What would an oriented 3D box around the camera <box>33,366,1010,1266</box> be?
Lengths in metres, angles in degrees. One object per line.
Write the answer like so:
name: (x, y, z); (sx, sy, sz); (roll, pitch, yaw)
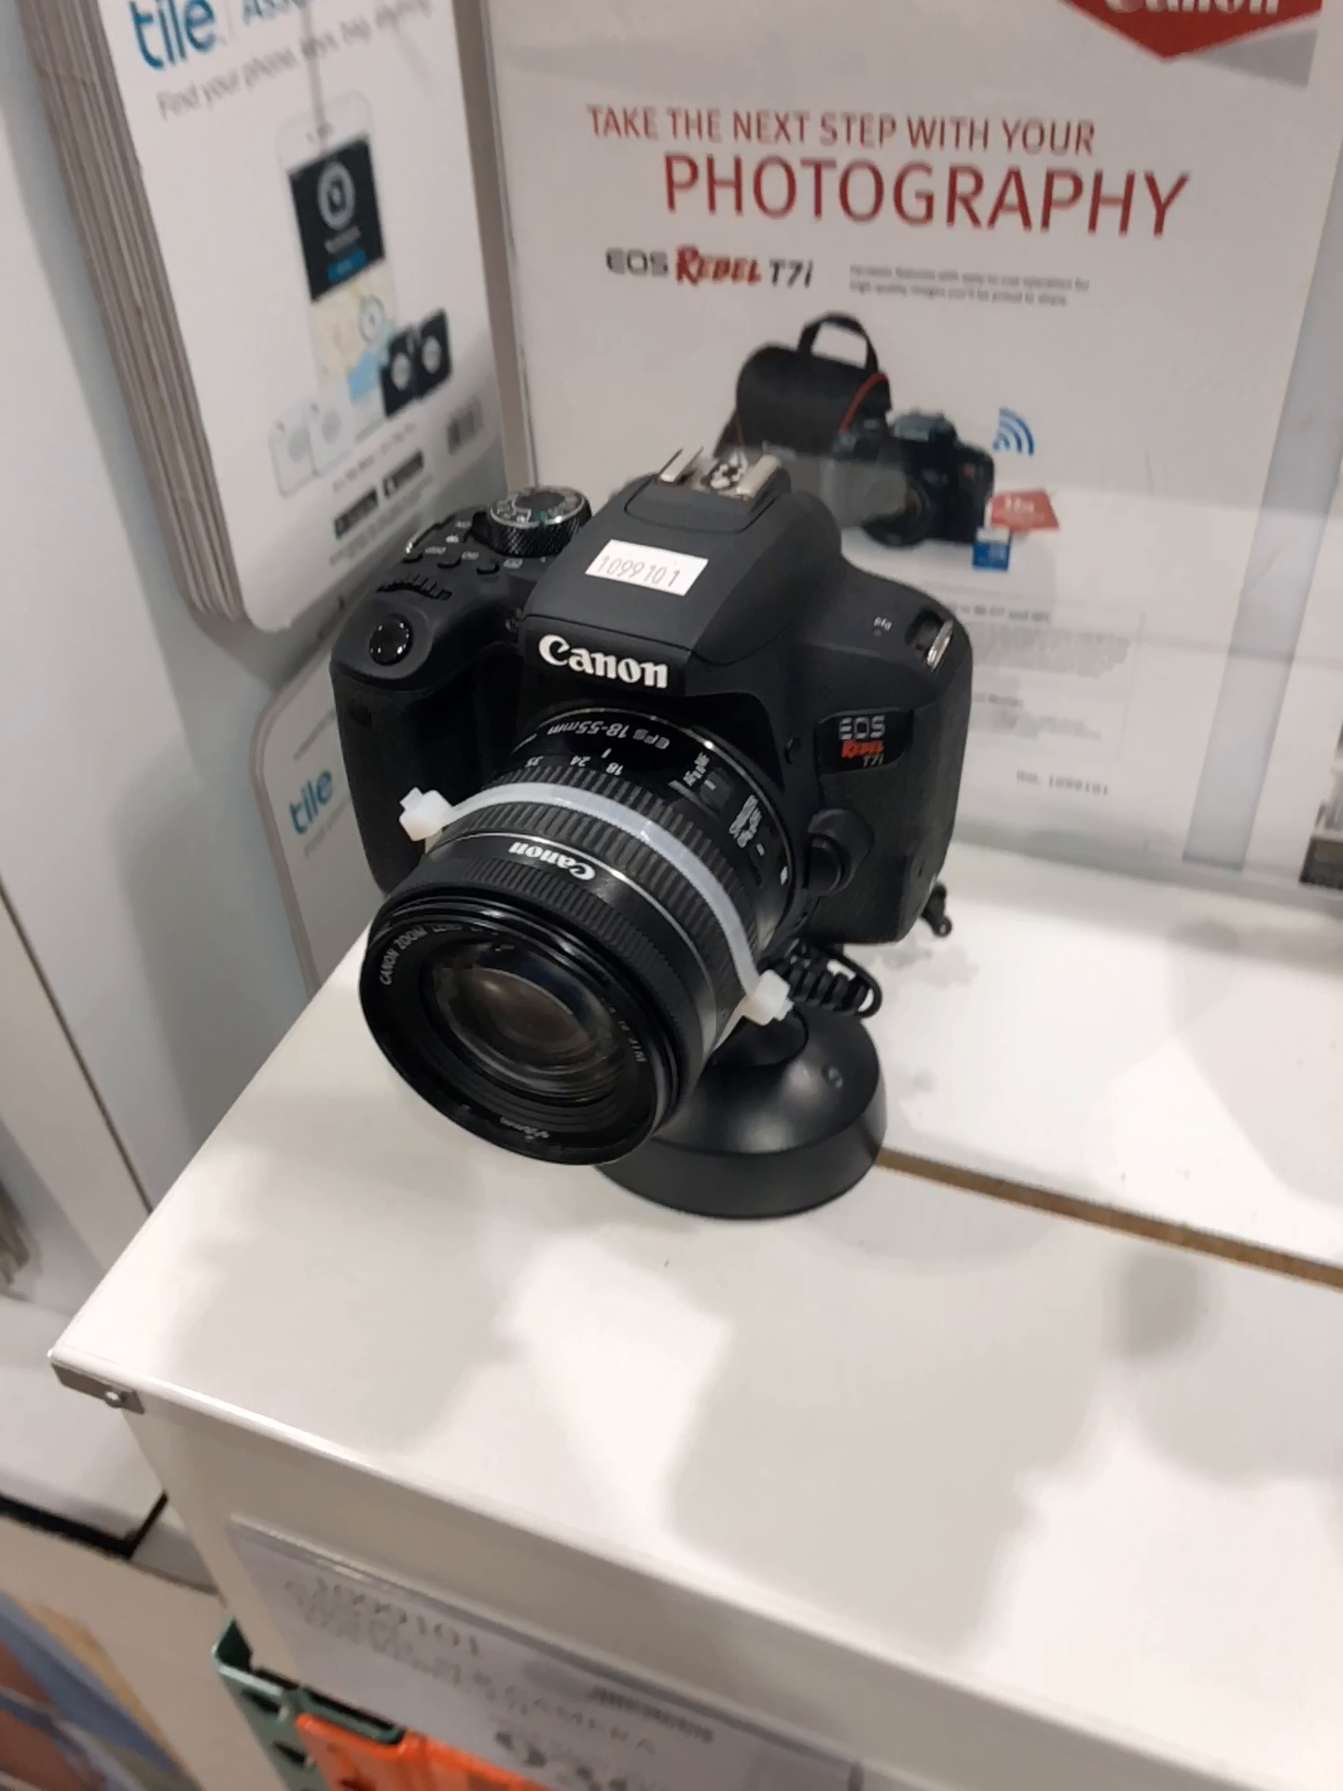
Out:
camera: (-0.018, -0.024, 0.294); (0.130, 0.100, 0.120); (15, 44, 19)
